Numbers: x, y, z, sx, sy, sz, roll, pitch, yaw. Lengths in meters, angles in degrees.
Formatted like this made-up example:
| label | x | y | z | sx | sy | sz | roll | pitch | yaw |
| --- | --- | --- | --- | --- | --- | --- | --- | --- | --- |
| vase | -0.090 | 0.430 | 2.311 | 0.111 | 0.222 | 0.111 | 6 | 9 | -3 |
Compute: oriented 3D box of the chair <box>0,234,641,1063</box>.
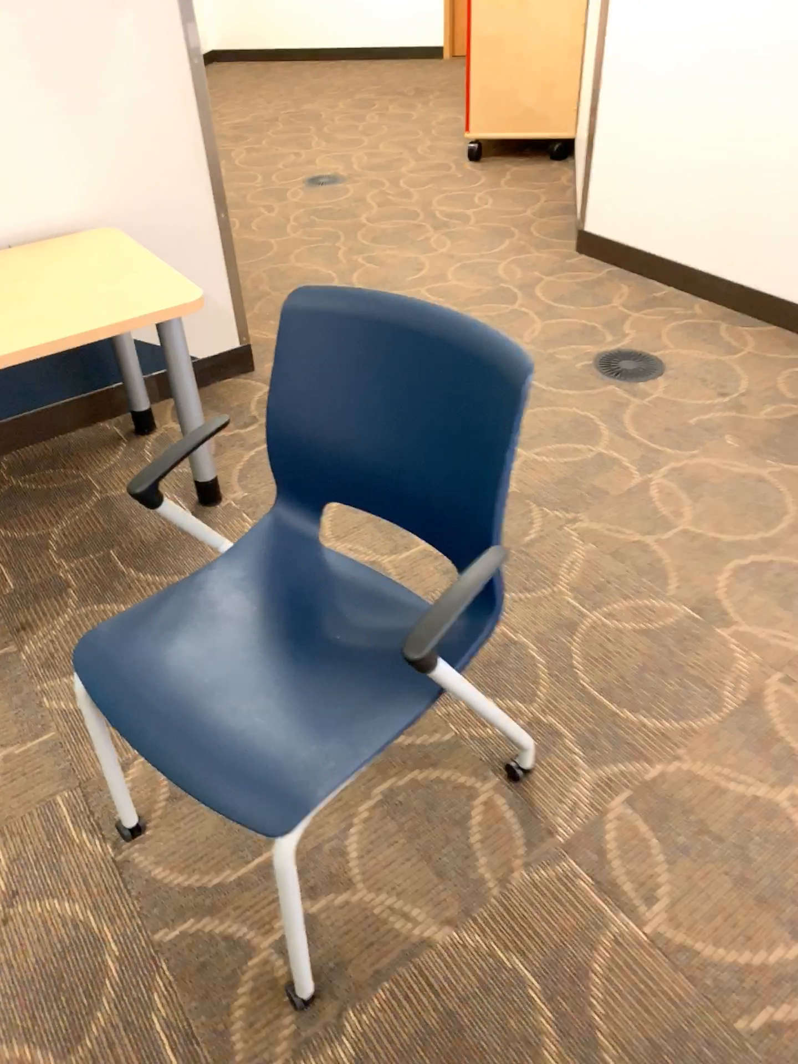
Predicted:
| label | x | y | z | sx | sy | sz | roll | pitch | yaw |
| --- | --- | --- | --- | --- | --- | --- | --- | --- | --- |
| chair | -0.166 | 0.104 | 1.049 | 0.622 | 0.687 | 0.611 | 27 | 47 | 32 |
